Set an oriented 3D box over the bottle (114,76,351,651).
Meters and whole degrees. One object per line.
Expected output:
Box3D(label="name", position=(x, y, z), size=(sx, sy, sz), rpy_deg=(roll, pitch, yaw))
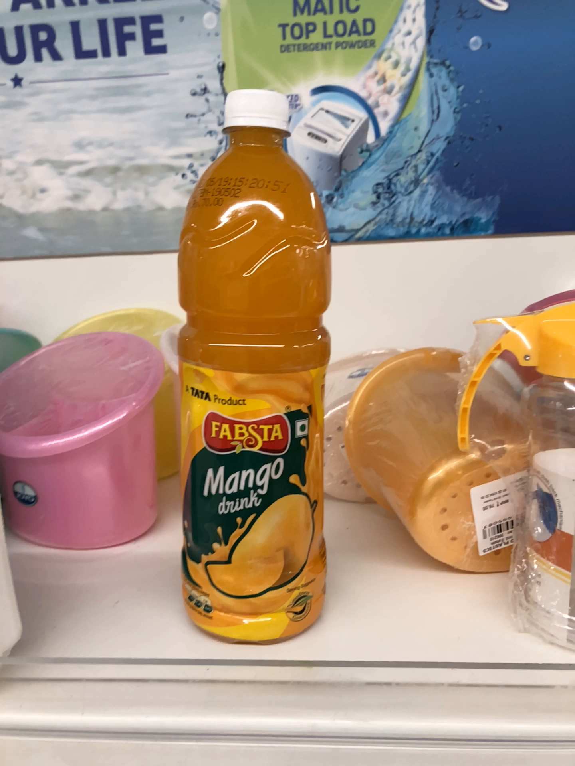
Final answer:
Box3D(label="bottle", position=(-0.020, -0.005, 0.325), size=(0.090, 0.259, 0.080), rpy_deg=(-3, 13, 0))
